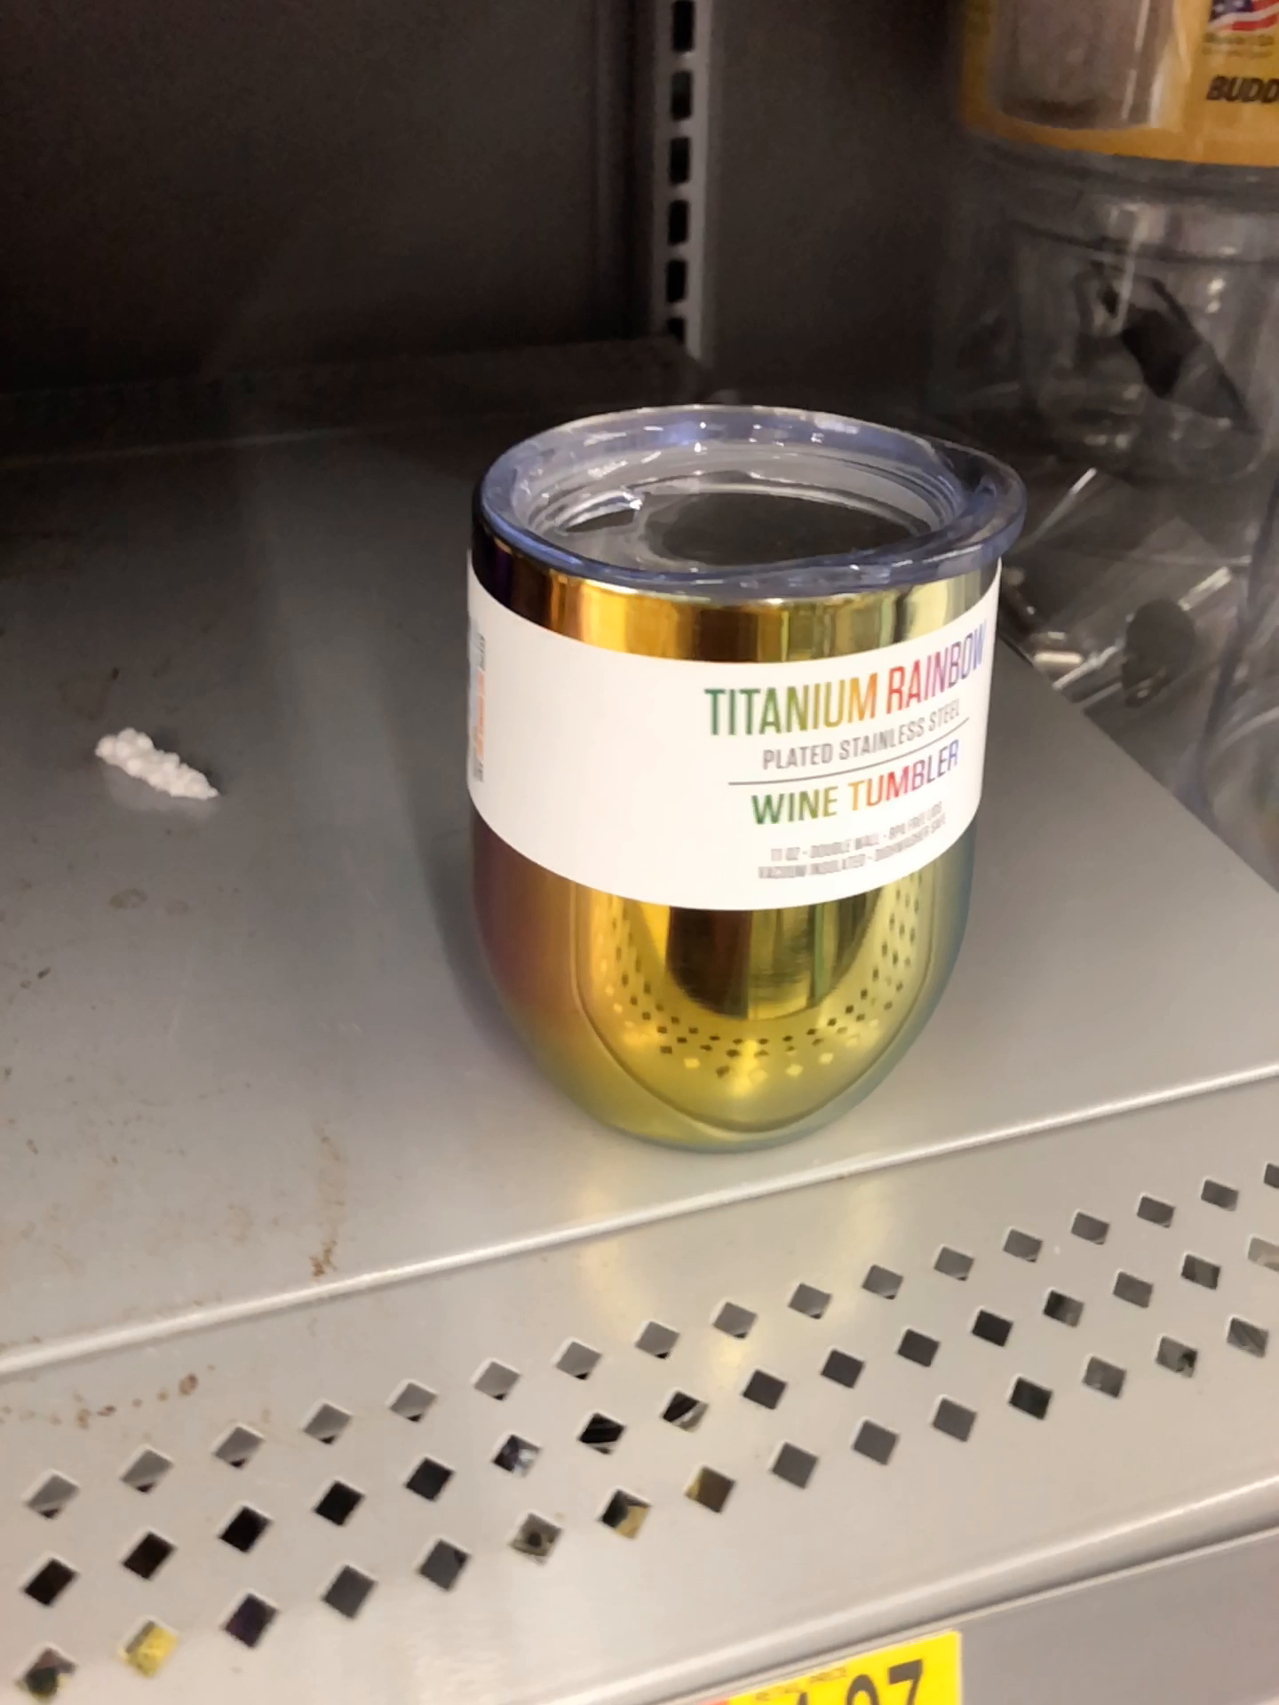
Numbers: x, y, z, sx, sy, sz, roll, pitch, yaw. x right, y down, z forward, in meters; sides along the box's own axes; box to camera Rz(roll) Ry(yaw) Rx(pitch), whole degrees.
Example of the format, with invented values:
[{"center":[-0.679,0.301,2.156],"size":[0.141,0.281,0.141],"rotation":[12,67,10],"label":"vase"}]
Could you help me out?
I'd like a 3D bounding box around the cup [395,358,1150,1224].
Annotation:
[{"center":[0.014,-0.013,0.240],"size":[0.086,0.108,0.076],"rotation":[-11,38,-16],"label":"cup"}]
